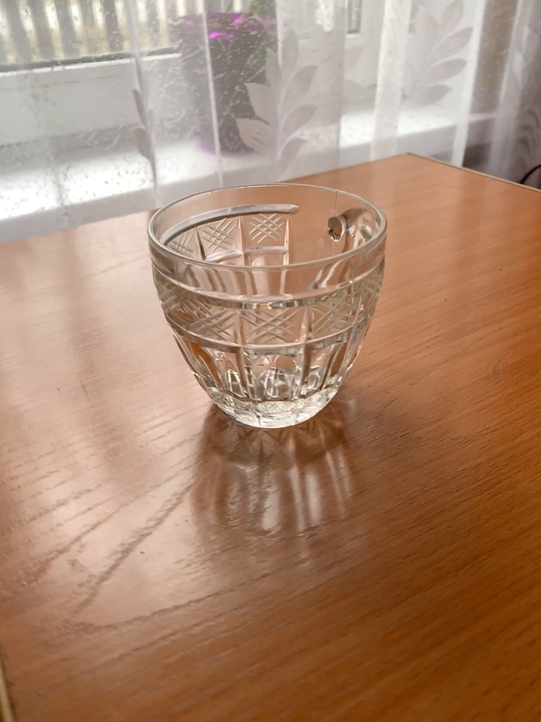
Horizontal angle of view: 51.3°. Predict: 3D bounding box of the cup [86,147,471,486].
[{"bbox_3d":[0.004,-0.026,0.209,0.101,0.066,0.083,-29,45,-33],"label":"cup"}]
